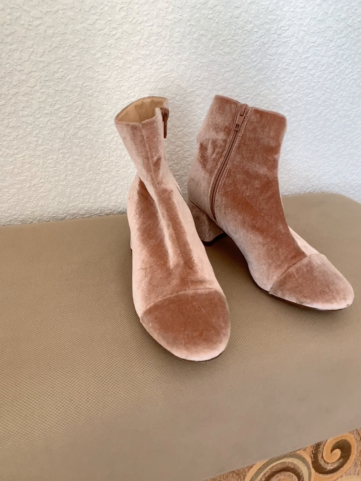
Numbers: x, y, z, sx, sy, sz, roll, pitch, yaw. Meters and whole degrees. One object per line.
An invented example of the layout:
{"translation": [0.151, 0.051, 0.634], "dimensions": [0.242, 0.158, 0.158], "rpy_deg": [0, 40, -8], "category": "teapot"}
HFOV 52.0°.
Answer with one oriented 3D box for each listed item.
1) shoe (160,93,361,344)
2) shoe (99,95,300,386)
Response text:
{"translation": [0.092, -0.050, 0.420], "dimensions": [0.100, 0.169, 0.271], "rpy_deg": [-19, 38, -31], "category": "shoe"}
{"translation": [-0.009, -0.025, 0.350], "dimensions": [0.100, 0.169, 0.231], "rpy_deg": [-6, 33, -14], "category": "shoe"}
